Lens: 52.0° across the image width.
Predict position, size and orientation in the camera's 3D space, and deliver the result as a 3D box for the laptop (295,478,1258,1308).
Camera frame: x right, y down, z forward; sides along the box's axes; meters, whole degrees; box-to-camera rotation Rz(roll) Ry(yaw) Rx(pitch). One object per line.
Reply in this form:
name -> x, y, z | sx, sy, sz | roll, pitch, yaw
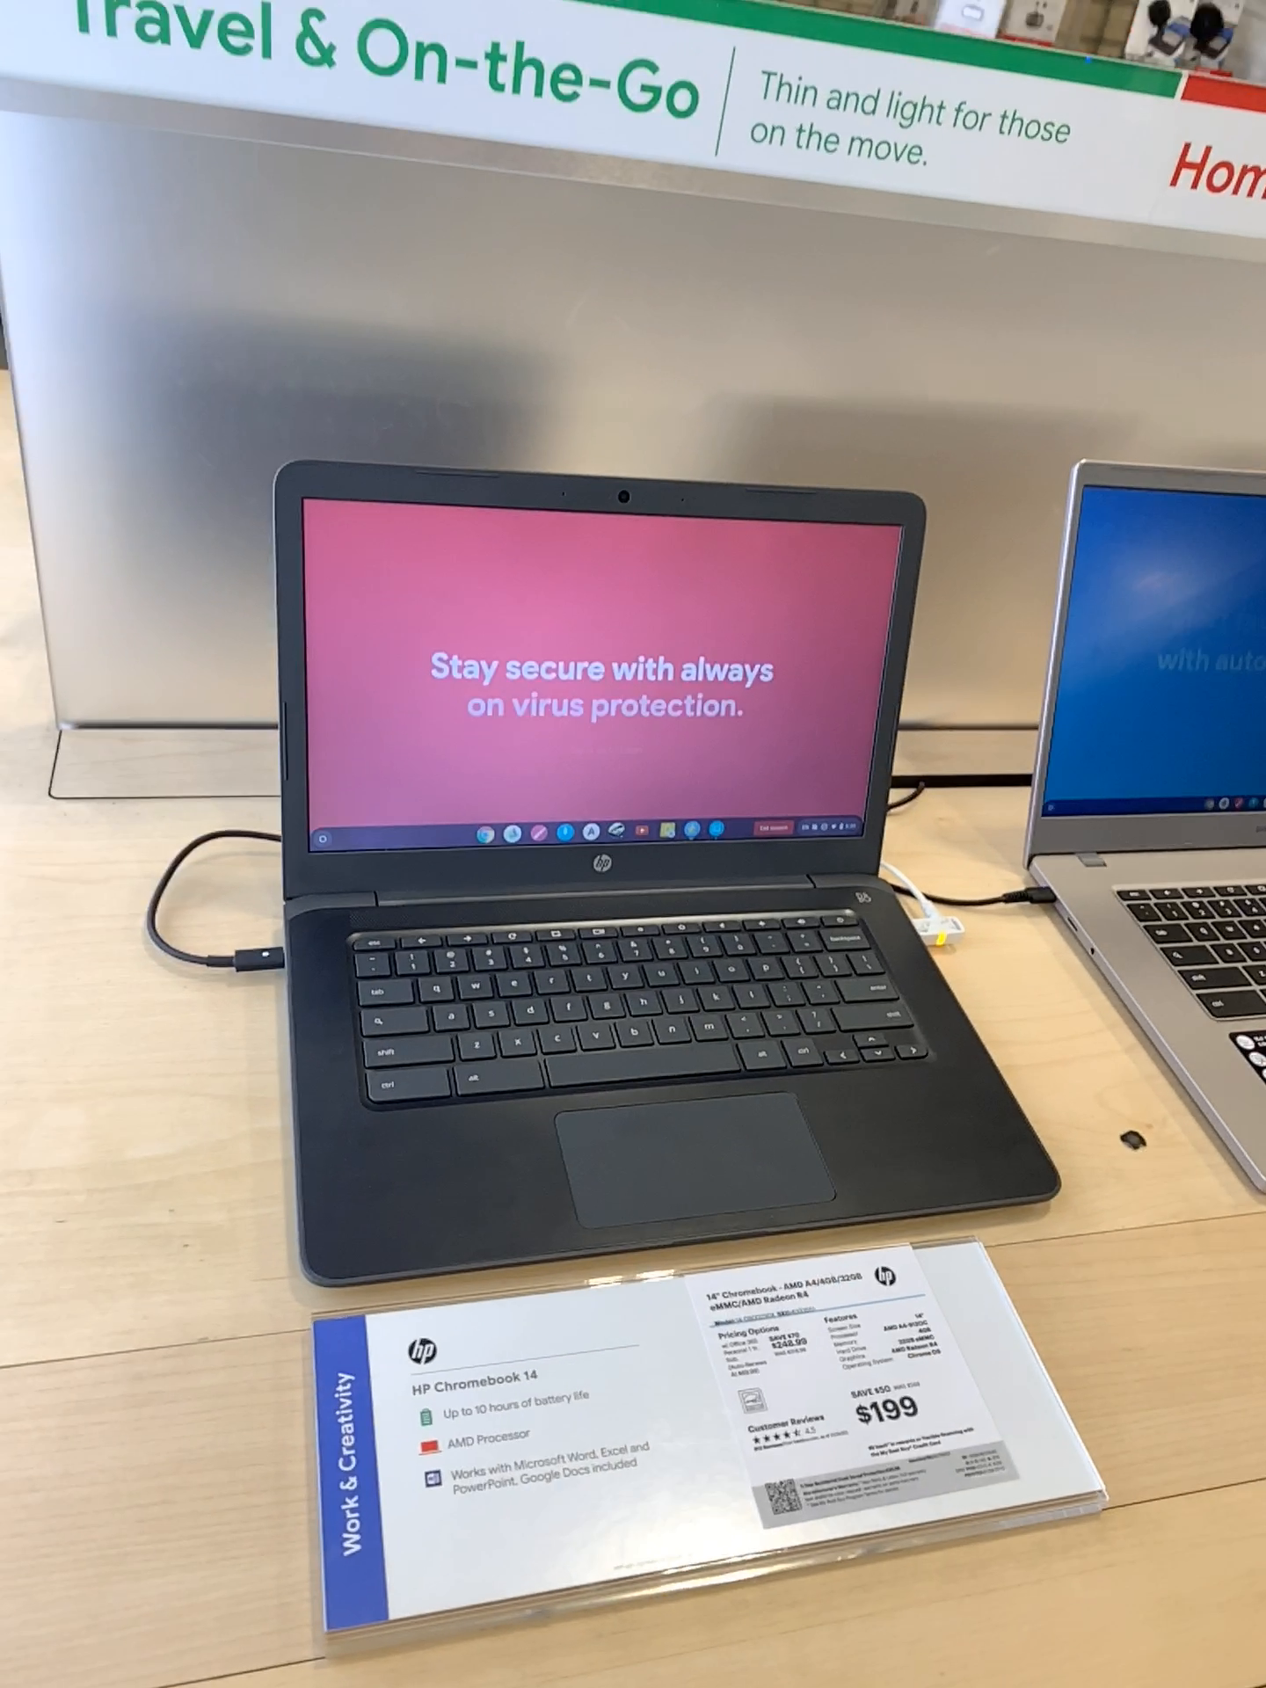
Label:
laptop -> 0.018, -0.004, 0.581 | 0.319, 0.198, 0.293 | -2, 39, -15
